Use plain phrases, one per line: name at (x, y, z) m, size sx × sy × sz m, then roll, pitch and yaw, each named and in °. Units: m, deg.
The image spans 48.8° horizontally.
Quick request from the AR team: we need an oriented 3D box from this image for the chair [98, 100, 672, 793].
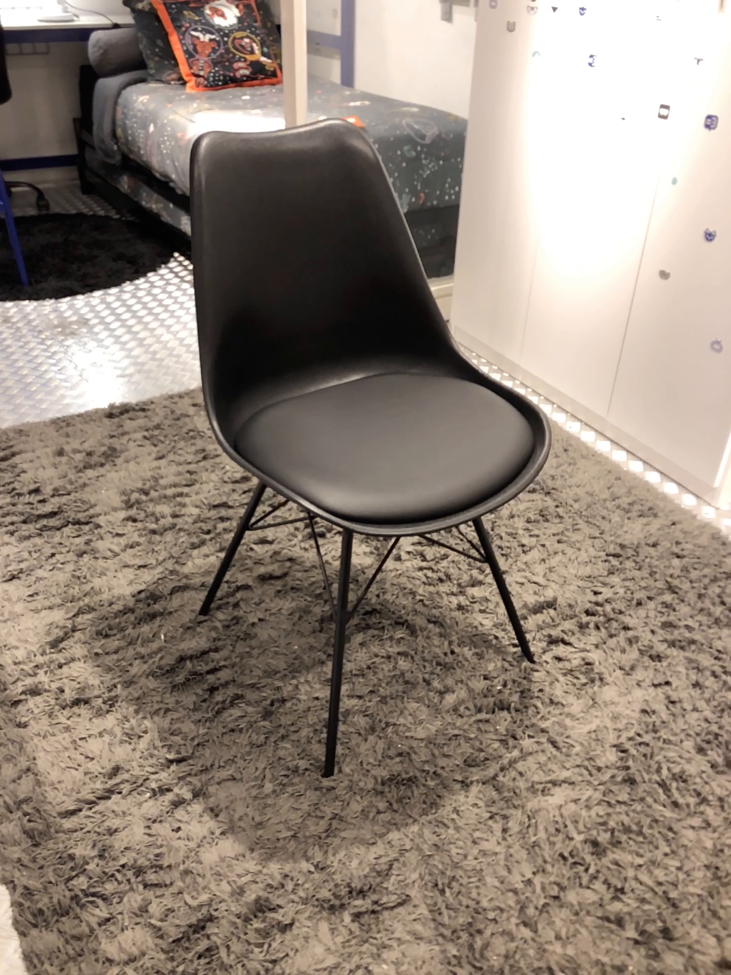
chair at (-0.011, -0.097, 1.242) m, size 0.522 × 0.804 × 0.533 m, roll -18°, pitch 39°, yaw -27°
